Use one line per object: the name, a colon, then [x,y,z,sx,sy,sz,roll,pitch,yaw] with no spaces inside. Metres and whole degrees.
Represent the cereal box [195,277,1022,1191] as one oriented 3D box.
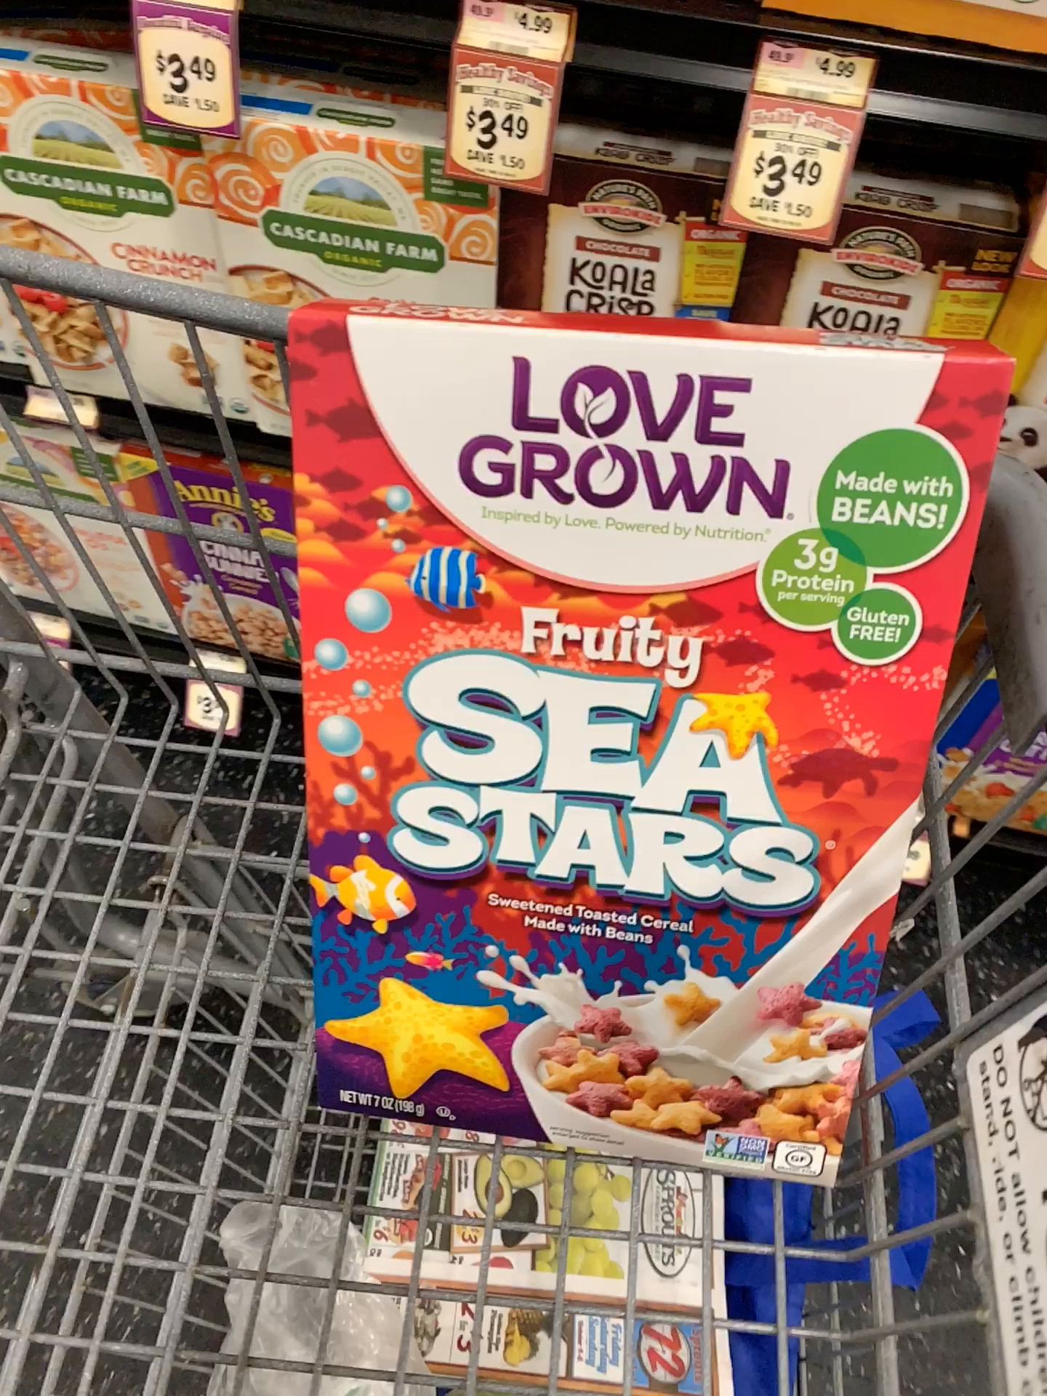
cereal box: [0.012,0.020,0.310,0.180,0.249,0.050,6,26,7]
